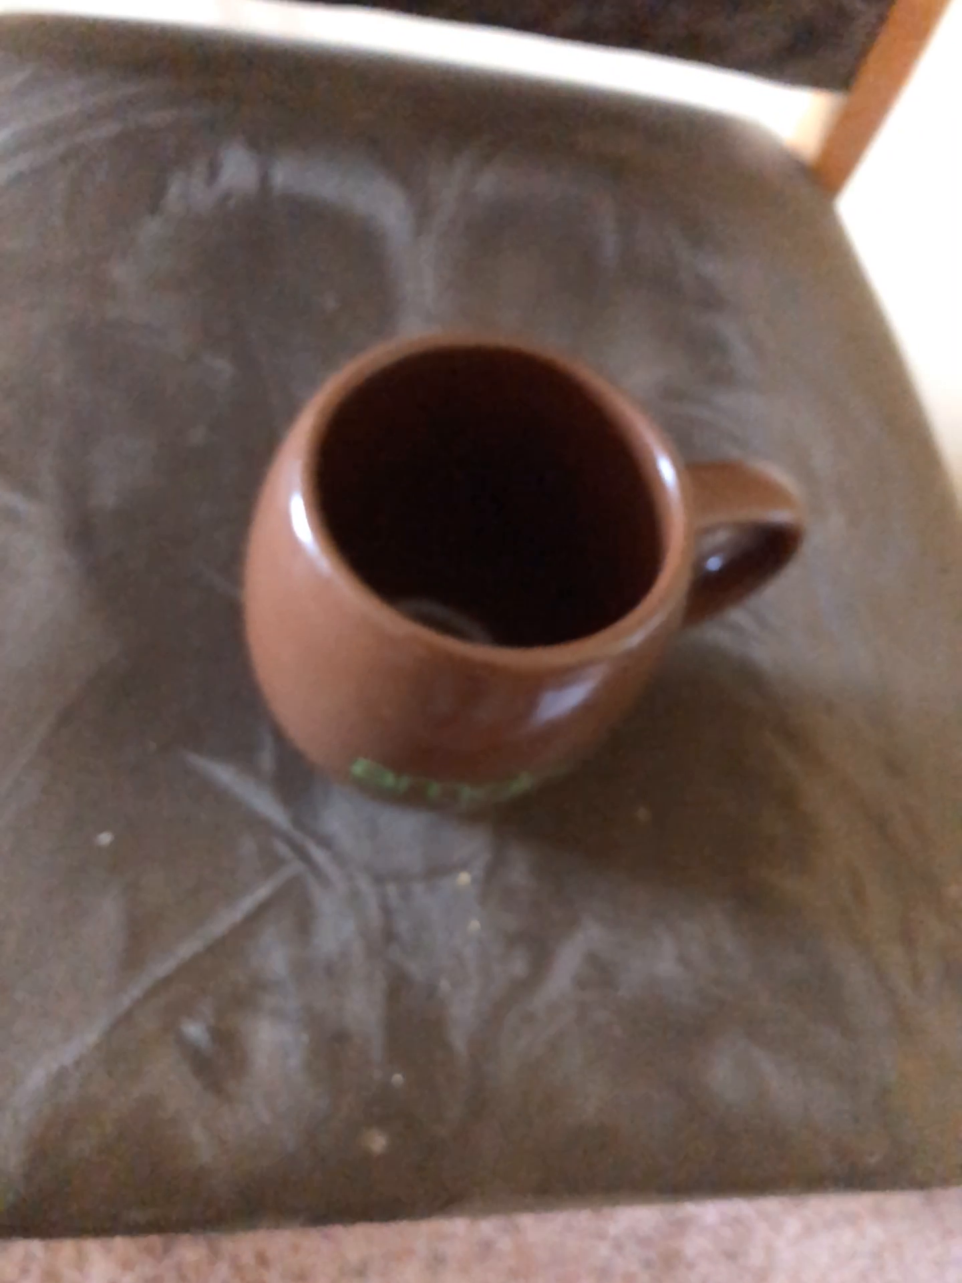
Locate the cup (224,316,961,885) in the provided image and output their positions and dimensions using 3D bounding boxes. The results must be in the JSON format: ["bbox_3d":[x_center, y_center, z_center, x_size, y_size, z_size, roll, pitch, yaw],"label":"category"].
[{"bbox_3d":[0.017,-0.005,0.270,0.140,0.100,0.090,-2,64,-20],"label":"cup"}]
